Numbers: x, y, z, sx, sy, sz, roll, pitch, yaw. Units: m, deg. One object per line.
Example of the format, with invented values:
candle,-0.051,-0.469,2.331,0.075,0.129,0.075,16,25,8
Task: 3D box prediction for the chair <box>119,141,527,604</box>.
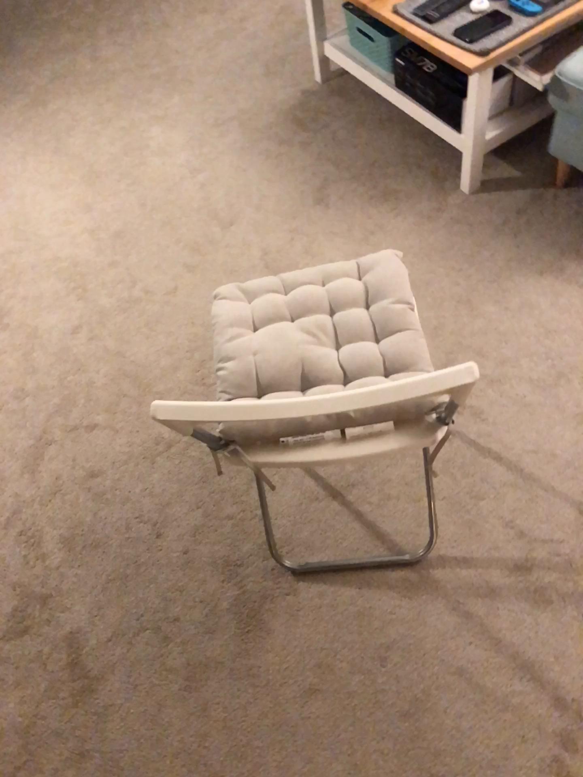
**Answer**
chair,0.067,0.024,1.215,0.510,0.667,0.542,-8,56,6
